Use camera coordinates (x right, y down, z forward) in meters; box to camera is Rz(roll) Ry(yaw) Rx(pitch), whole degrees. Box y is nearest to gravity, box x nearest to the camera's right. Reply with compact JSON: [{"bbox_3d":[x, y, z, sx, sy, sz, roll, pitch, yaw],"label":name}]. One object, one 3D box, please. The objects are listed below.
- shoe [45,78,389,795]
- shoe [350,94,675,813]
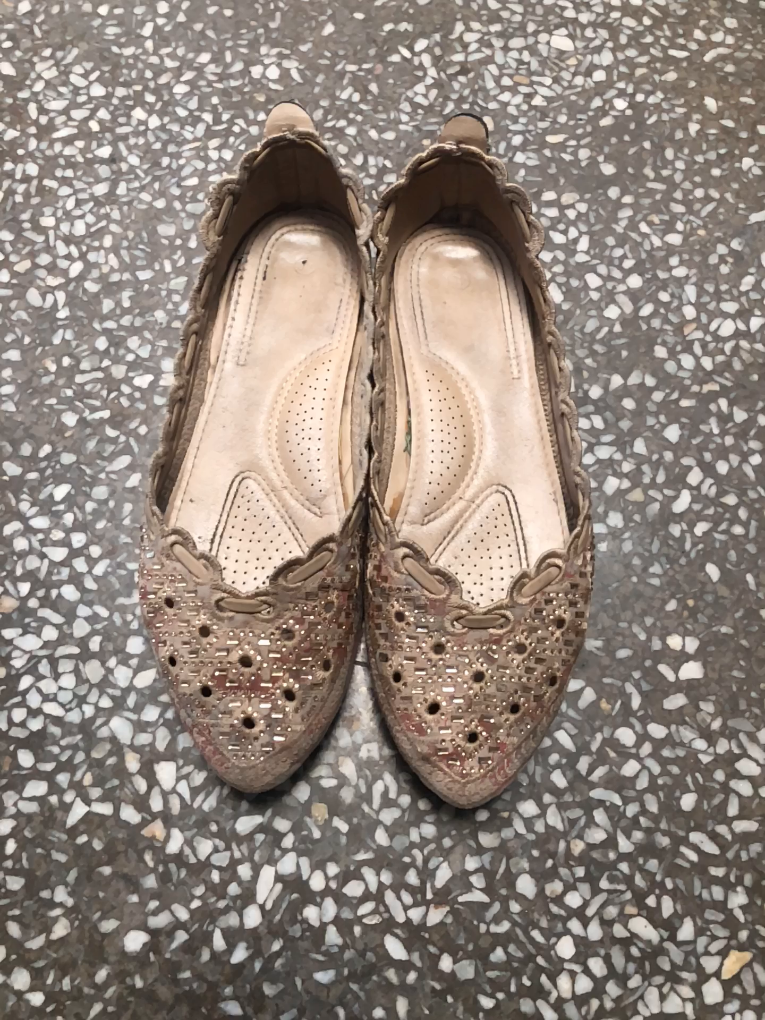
[{"bbox_3d":[-0.048,-0.030,0.316,0.089,0.068,0.255,3,71,-1],"label":"shoe"},{"bbox_3d":[0.034,-0.025,0.314,0.089,0.068,0.255,-1,72,-2],"label":"shoe"}]
